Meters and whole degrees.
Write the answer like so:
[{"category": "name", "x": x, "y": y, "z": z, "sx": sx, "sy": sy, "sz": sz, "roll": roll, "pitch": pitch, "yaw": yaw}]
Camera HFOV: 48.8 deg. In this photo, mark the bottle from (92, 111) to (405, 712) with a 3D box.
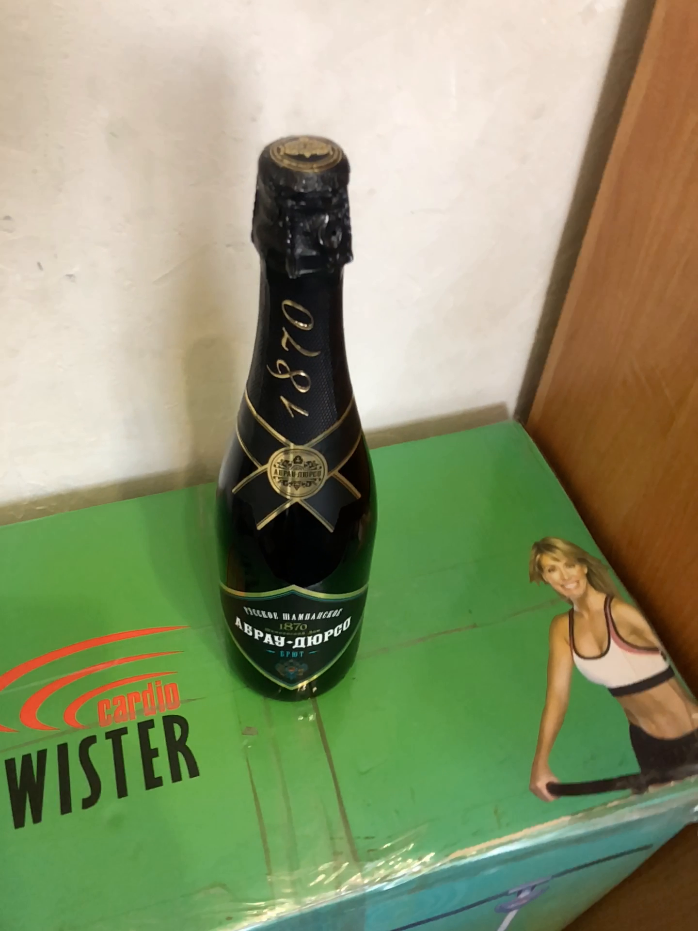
[{"category": "bottle", "x": -0.031, "y": 0.006, "z": 0.364, "sx": 0.090, "sy": 0.300, "sz": 0.090, "roll": 1, "pitch": 48, "yaw": -1}]
